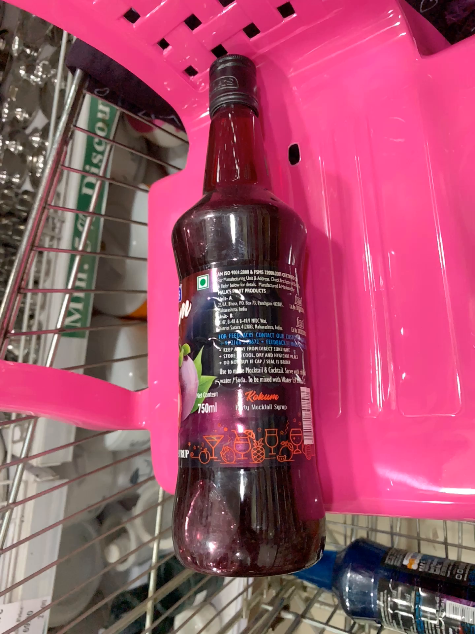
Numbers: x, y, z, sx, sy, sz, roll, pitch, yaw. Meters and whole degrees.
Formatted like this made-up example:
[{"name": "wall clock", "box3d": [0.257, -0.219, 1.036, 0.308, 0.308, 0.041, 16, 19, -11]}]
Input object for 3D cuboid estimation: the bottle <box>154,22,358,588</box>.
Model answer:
[{"name": "bottle", "box3d": [0.009, -0.008, 0.267, 0.080, 0.080, 0.260, -5, 80, 9]}]
